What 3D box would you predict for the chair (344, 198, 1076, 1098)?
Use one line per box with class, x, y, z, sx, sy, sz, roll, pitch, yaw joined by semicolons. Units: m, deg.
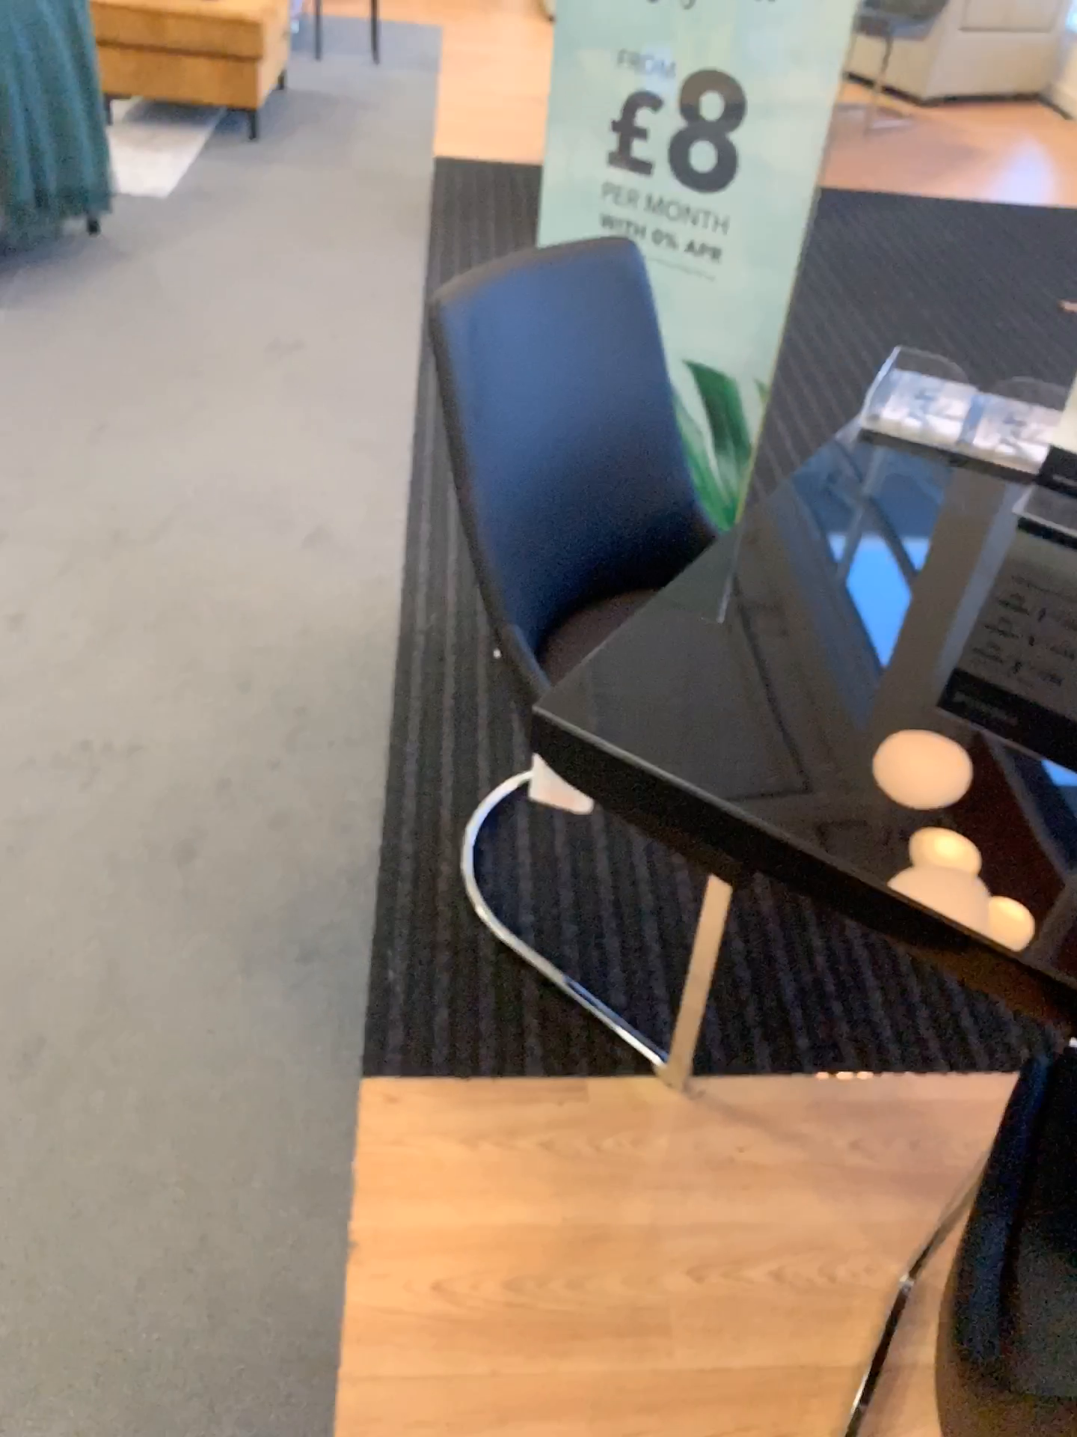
chair;0.167;-0.106;1.414;0.612;0.811;0.533;33;47;28
